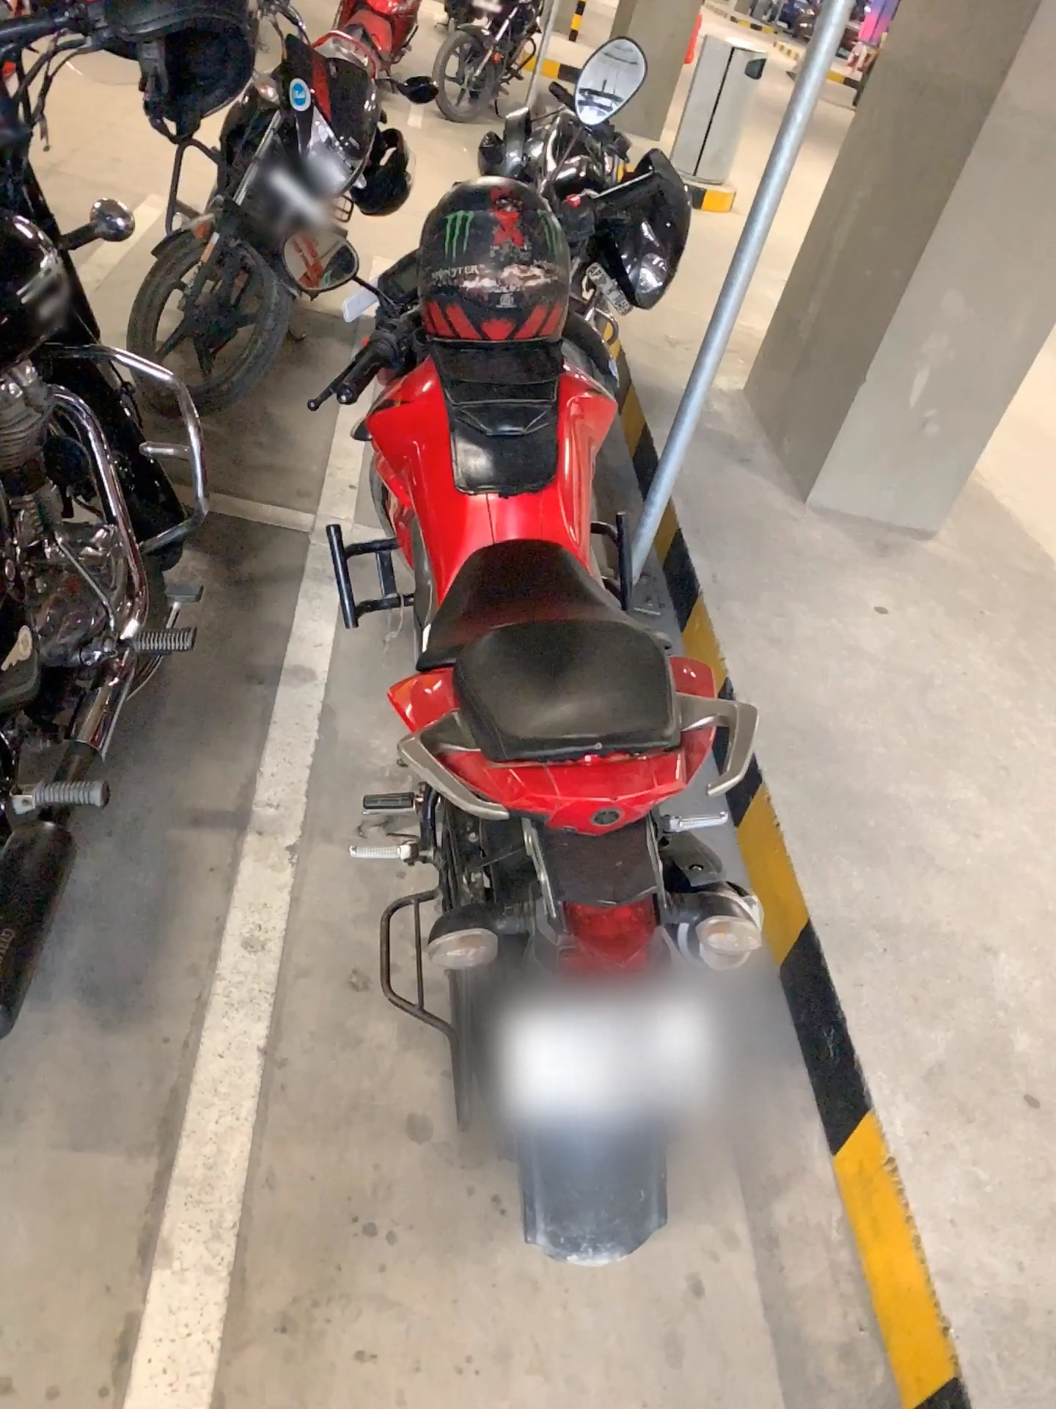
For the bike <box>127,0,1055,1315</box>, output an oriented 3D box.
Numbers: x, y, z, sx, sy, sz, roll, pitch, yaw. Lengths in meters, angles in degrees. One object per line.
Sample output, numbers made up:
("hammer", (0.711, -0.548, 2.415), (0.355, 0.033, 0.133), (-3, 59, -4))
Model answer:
("bike", (-0.216, -0.225, 1.645), (0.677, 1.121, 1.690), (2, 40, -22))
